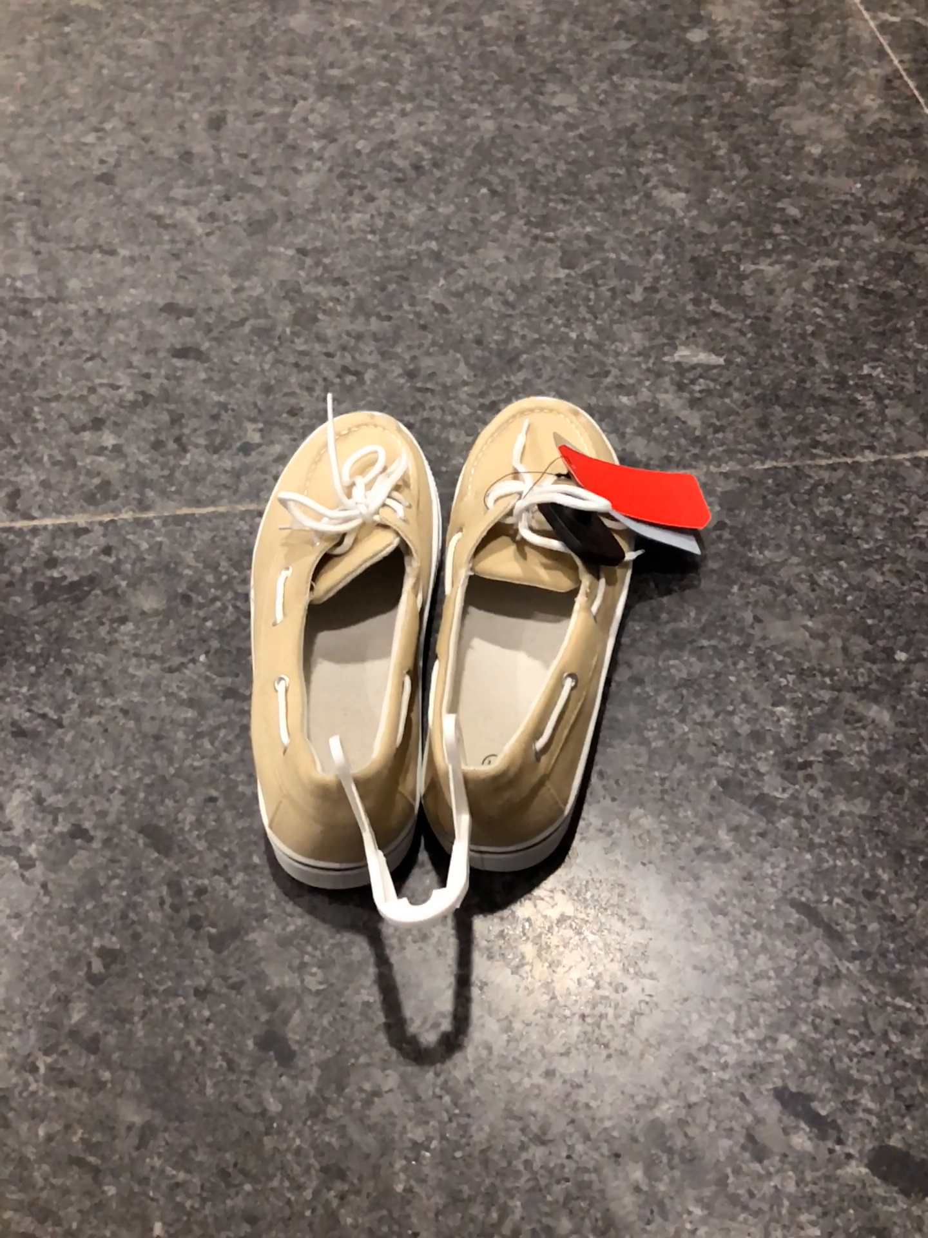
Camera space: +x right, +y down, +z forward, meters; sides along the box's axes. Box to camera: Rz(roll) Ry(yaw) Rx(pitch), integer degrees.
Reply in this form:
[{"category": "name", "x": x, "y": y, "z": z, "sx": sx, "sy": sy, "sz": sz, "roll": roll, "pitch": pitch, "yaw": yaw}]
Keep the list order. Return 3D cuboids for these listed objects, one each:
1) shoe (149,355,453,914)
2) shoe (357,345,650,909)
[{"category": "shoe", "x": -0.060, "y": -0.001, "z": 0.482, "sx": 0.103, "sy": 0.106, "sz": 0.243, "roll": -2, "pitch": 53, "yaw": 2}, {"category": "shoe", "x": 0.029, "y": -0.006, "z": 0.484, "sx": 0.096, "sy": 0.106, "sz": 0.243, "roll": 5, "pitch": 54, "yaw": 7}]
